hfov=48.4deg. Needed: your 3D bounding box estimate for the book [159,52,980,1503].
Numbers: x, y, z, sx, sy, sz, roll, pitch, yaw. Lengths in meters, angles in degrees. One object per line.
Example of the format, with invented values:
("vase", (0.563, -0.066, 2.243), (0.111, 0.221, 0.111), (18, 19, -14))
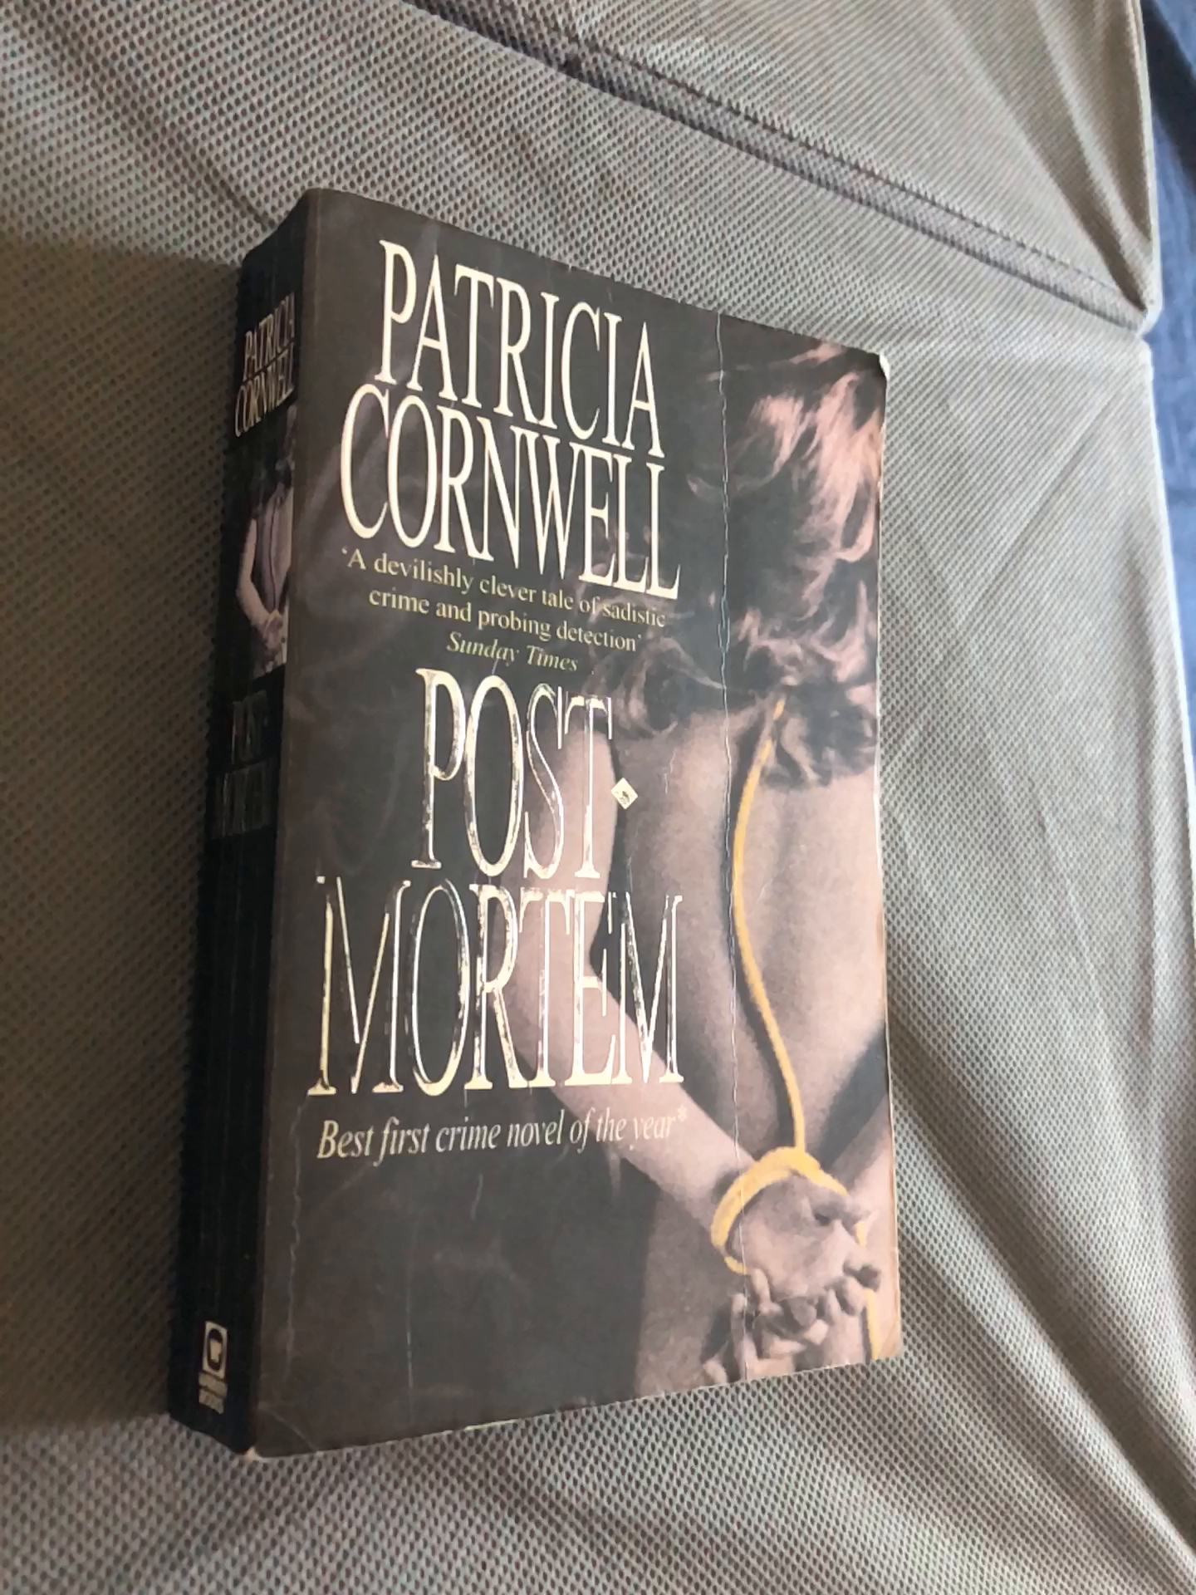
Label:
("book", (-0.003, -0.003, 0.212), (0.110, 0.050, 0.180), (6, 77, -32))
